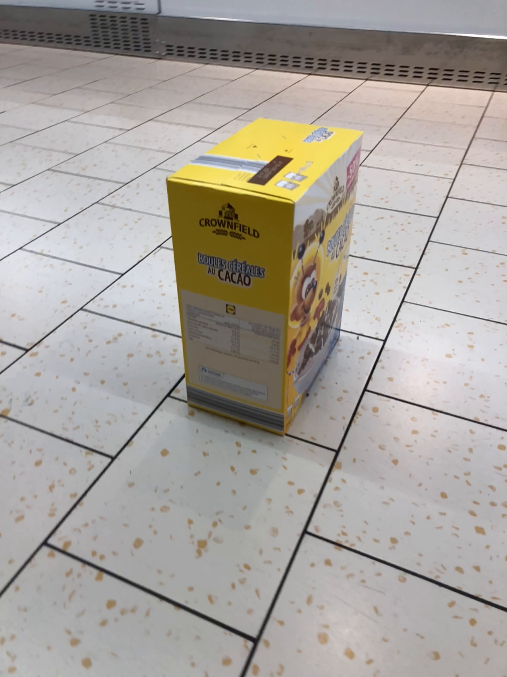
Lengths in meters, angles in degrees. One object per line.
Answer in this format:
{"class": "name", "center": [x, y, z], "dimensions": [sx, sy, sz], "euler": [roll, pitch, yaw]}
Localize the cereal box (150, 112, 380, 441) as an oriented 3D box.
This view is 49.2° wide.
{"class": "cereal box", "center": [0.022, -0.071, 0.558], "dimensions": [0.130, 0.239, 0.211], "euler": [15, 39, 20]}
